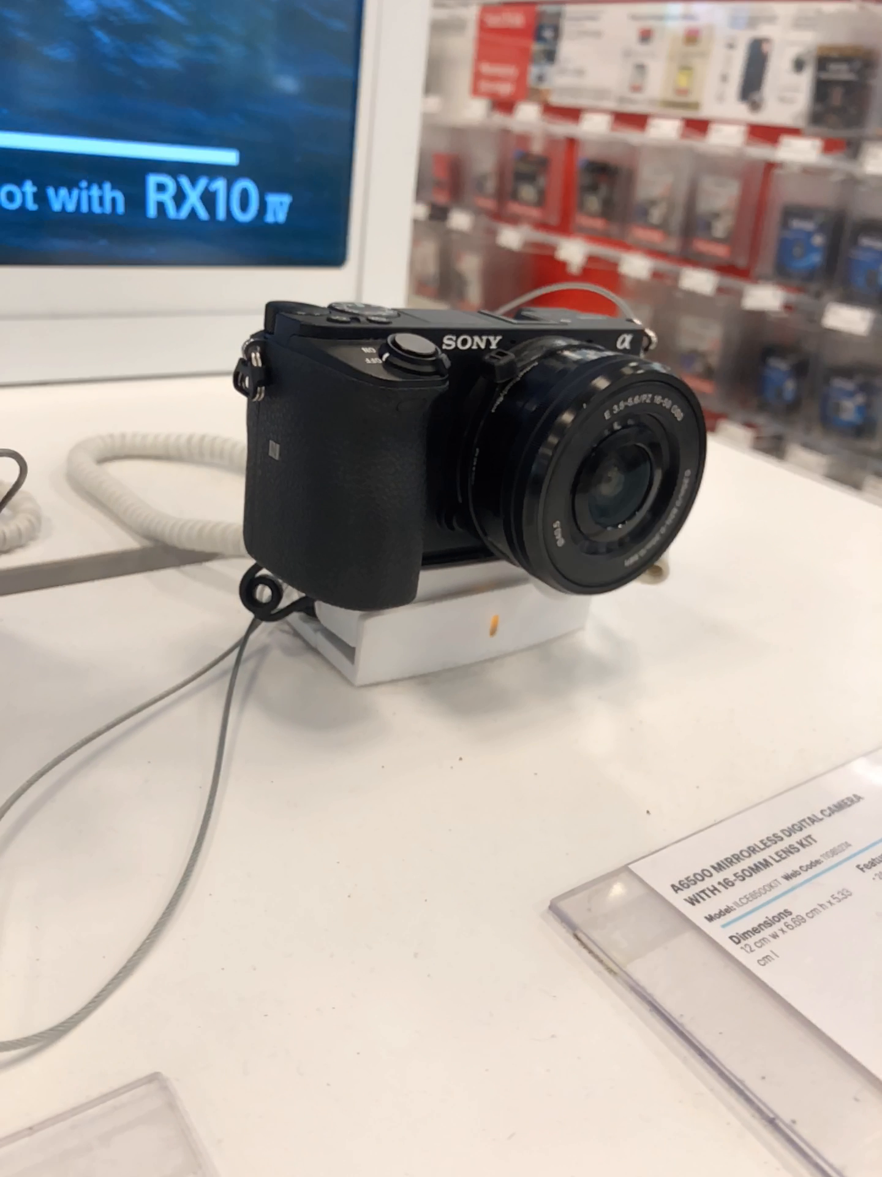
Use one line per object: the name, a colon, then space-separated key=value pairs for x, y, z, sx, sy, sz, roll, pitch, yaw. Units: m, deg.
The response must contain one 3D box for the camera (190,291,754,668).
camera: x=0.008 y=-0.038 z=0.270 sx=0.130 sy=0.070 sz=0.070 roll=-11 pitch=29 yaw=-34
